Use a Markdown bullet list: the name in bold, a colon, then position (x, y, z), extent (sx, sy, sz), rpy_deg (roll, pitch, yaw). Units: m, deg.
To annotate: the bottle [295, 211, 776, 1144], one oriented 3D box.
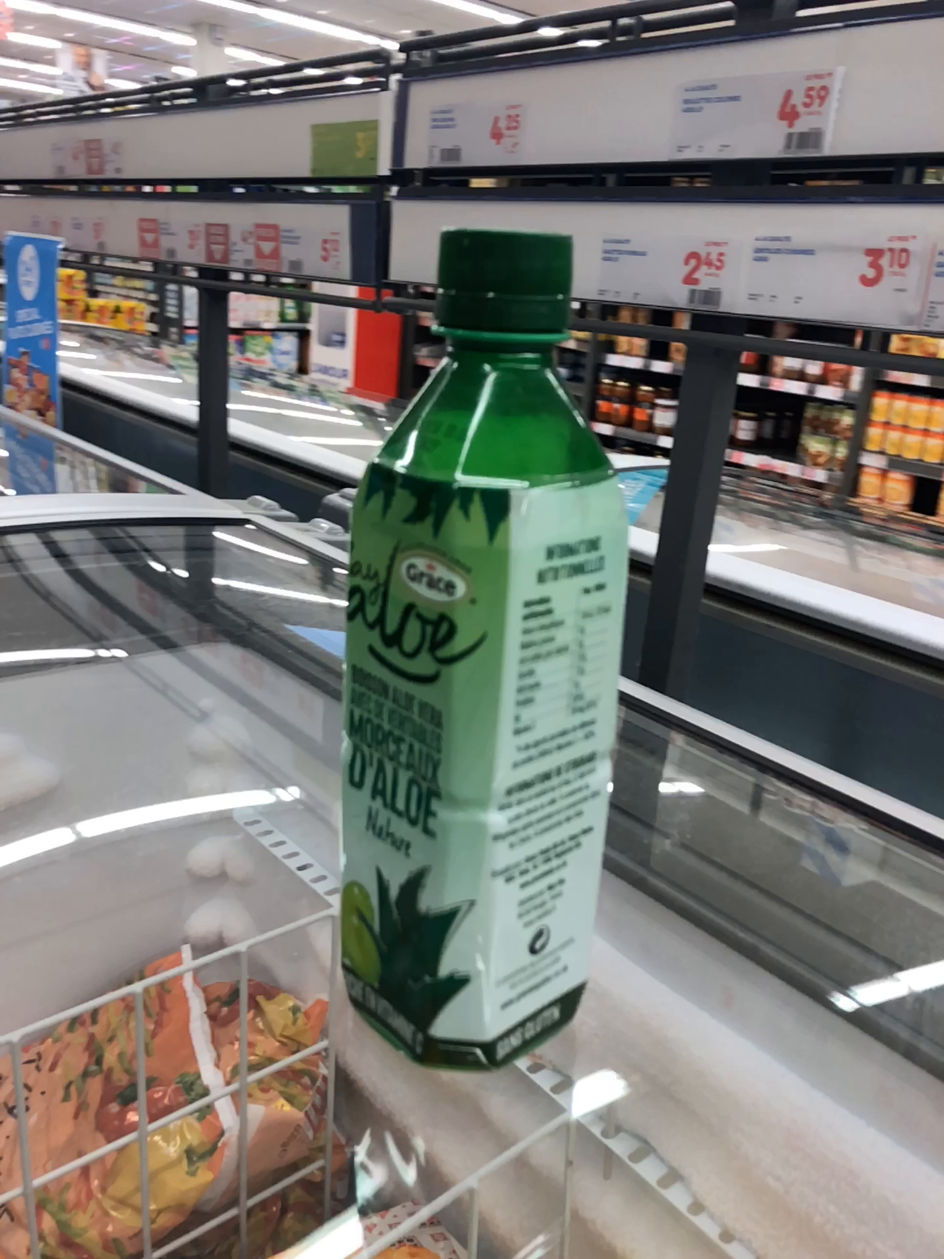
- **bottle**: position (0.009, 0.008, 0.255), extent (0.070, 0.199, 0.070), rpy_deg (4, 18, -1)
